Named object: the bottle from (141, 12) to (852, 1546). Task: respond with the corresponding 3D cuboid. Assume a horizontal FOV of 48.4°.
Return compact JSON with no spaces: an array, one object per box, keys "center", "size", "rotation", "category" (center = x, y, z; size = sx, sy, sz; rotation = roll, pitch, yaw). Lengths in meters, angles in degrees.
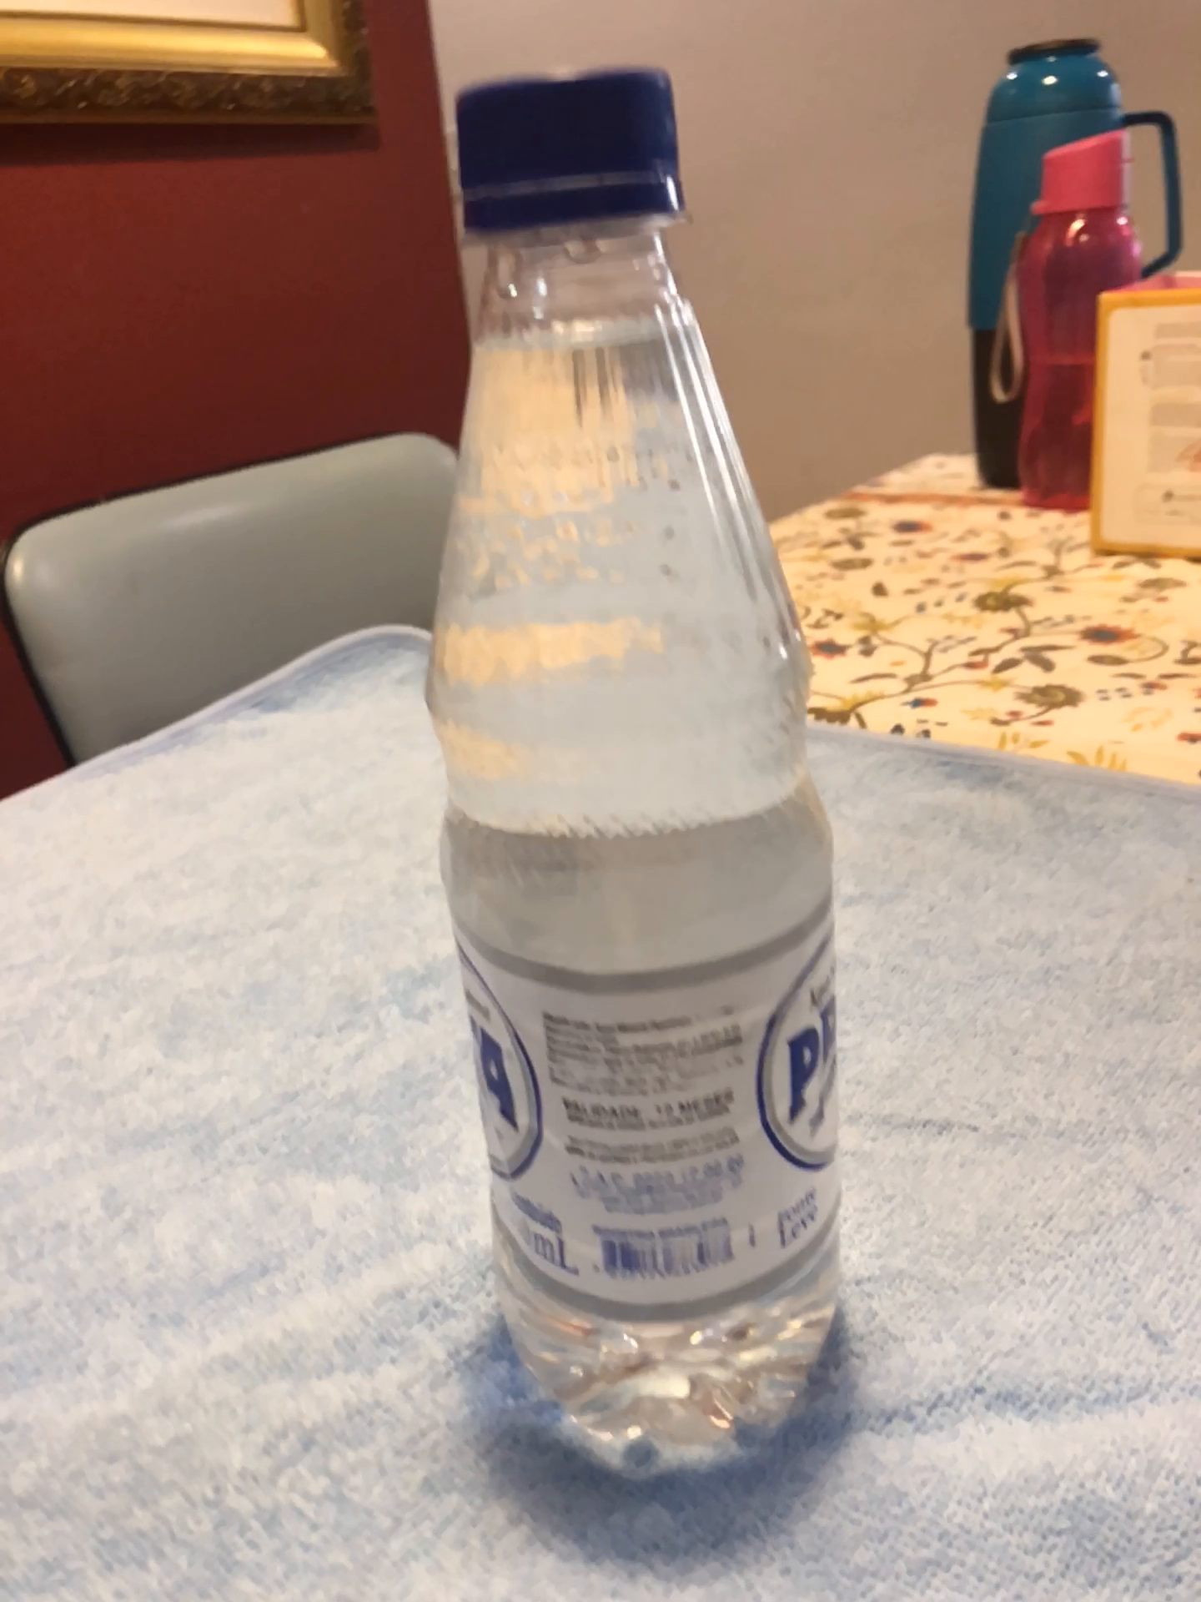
[{"center":[-0.001,0.007,0.217],"size":[0.070,0.219,0.081],"rotation":[-3,22,6],"category":"bottle"}]
